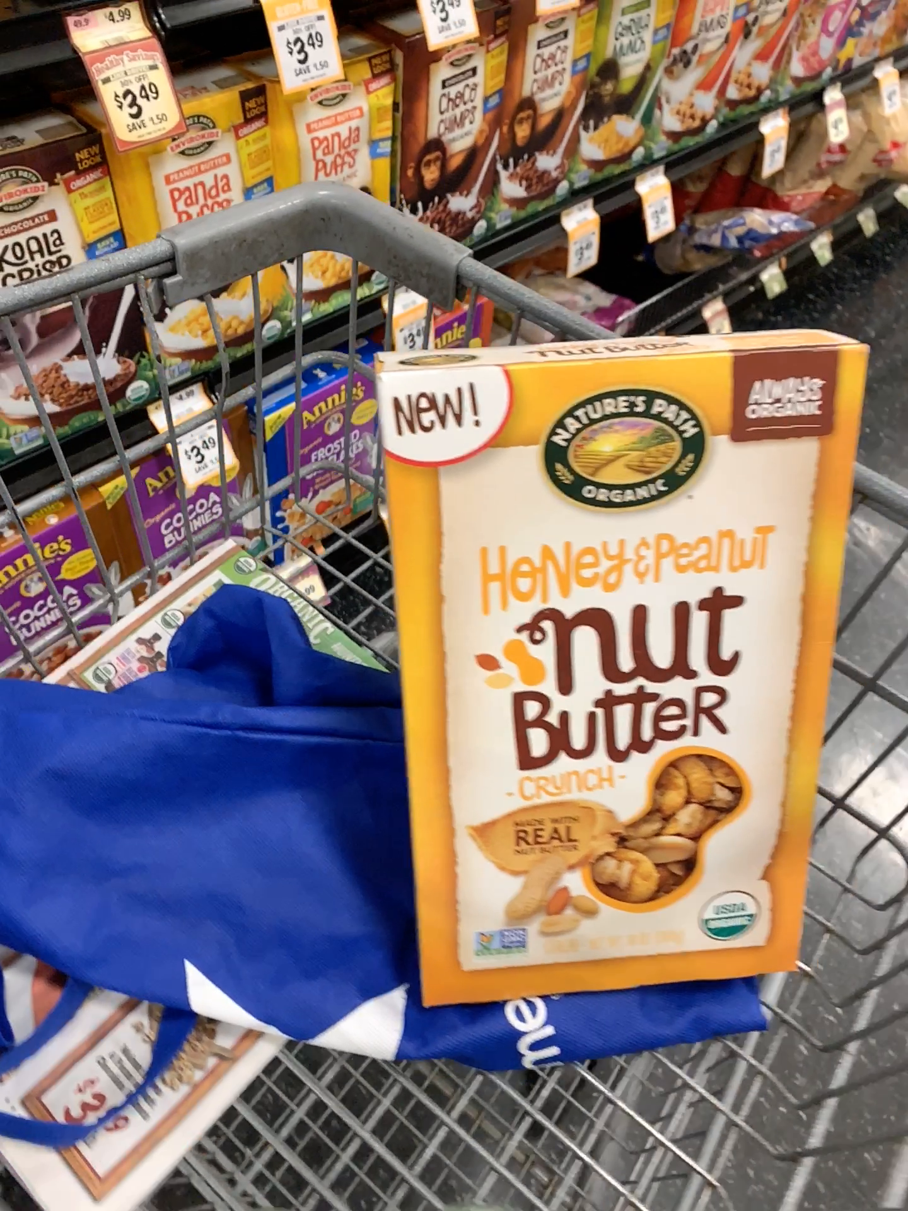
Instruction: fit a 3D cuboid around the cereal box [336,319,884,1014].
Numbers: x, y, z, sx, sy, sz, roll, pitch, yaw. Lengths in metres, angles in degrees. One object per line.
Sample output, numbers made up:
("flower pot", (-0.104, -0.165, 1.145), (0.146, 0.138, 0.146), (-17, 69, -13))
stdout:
("cereal box", (0.050, 0.028, 0.336), (0.160, 0.239, 0.050), (-4, 22, -4))
